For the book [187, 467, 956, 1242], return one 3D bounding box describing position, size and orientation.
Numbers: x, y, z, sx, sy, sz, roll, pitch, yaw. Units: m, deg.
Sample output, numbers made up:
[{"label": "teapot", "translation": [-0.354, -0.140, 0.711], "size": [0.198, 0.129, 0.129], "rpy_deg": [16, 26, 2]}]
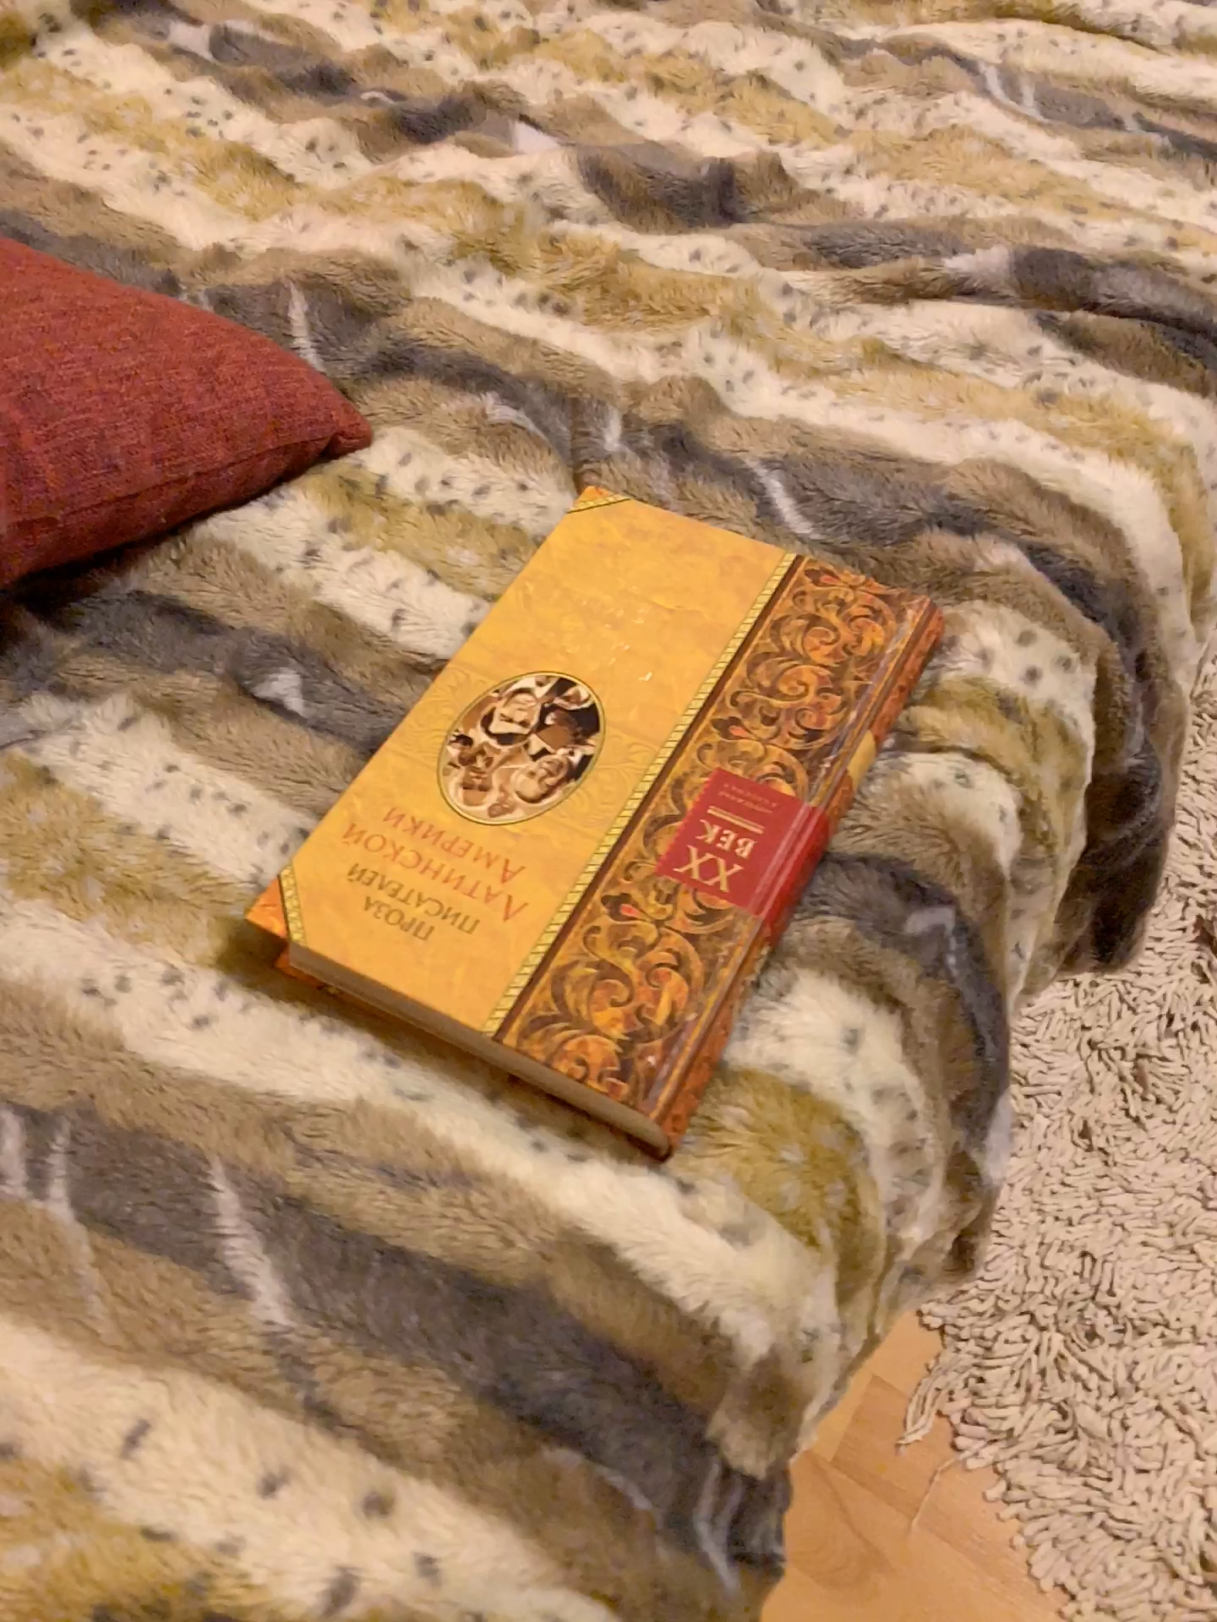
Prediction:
[{"label": "book", "translation": [0.000, -0.004, 0.489], "size": [0.180, 0.060, 0.271], "rpy_deg": [23, 59, 17]}]
